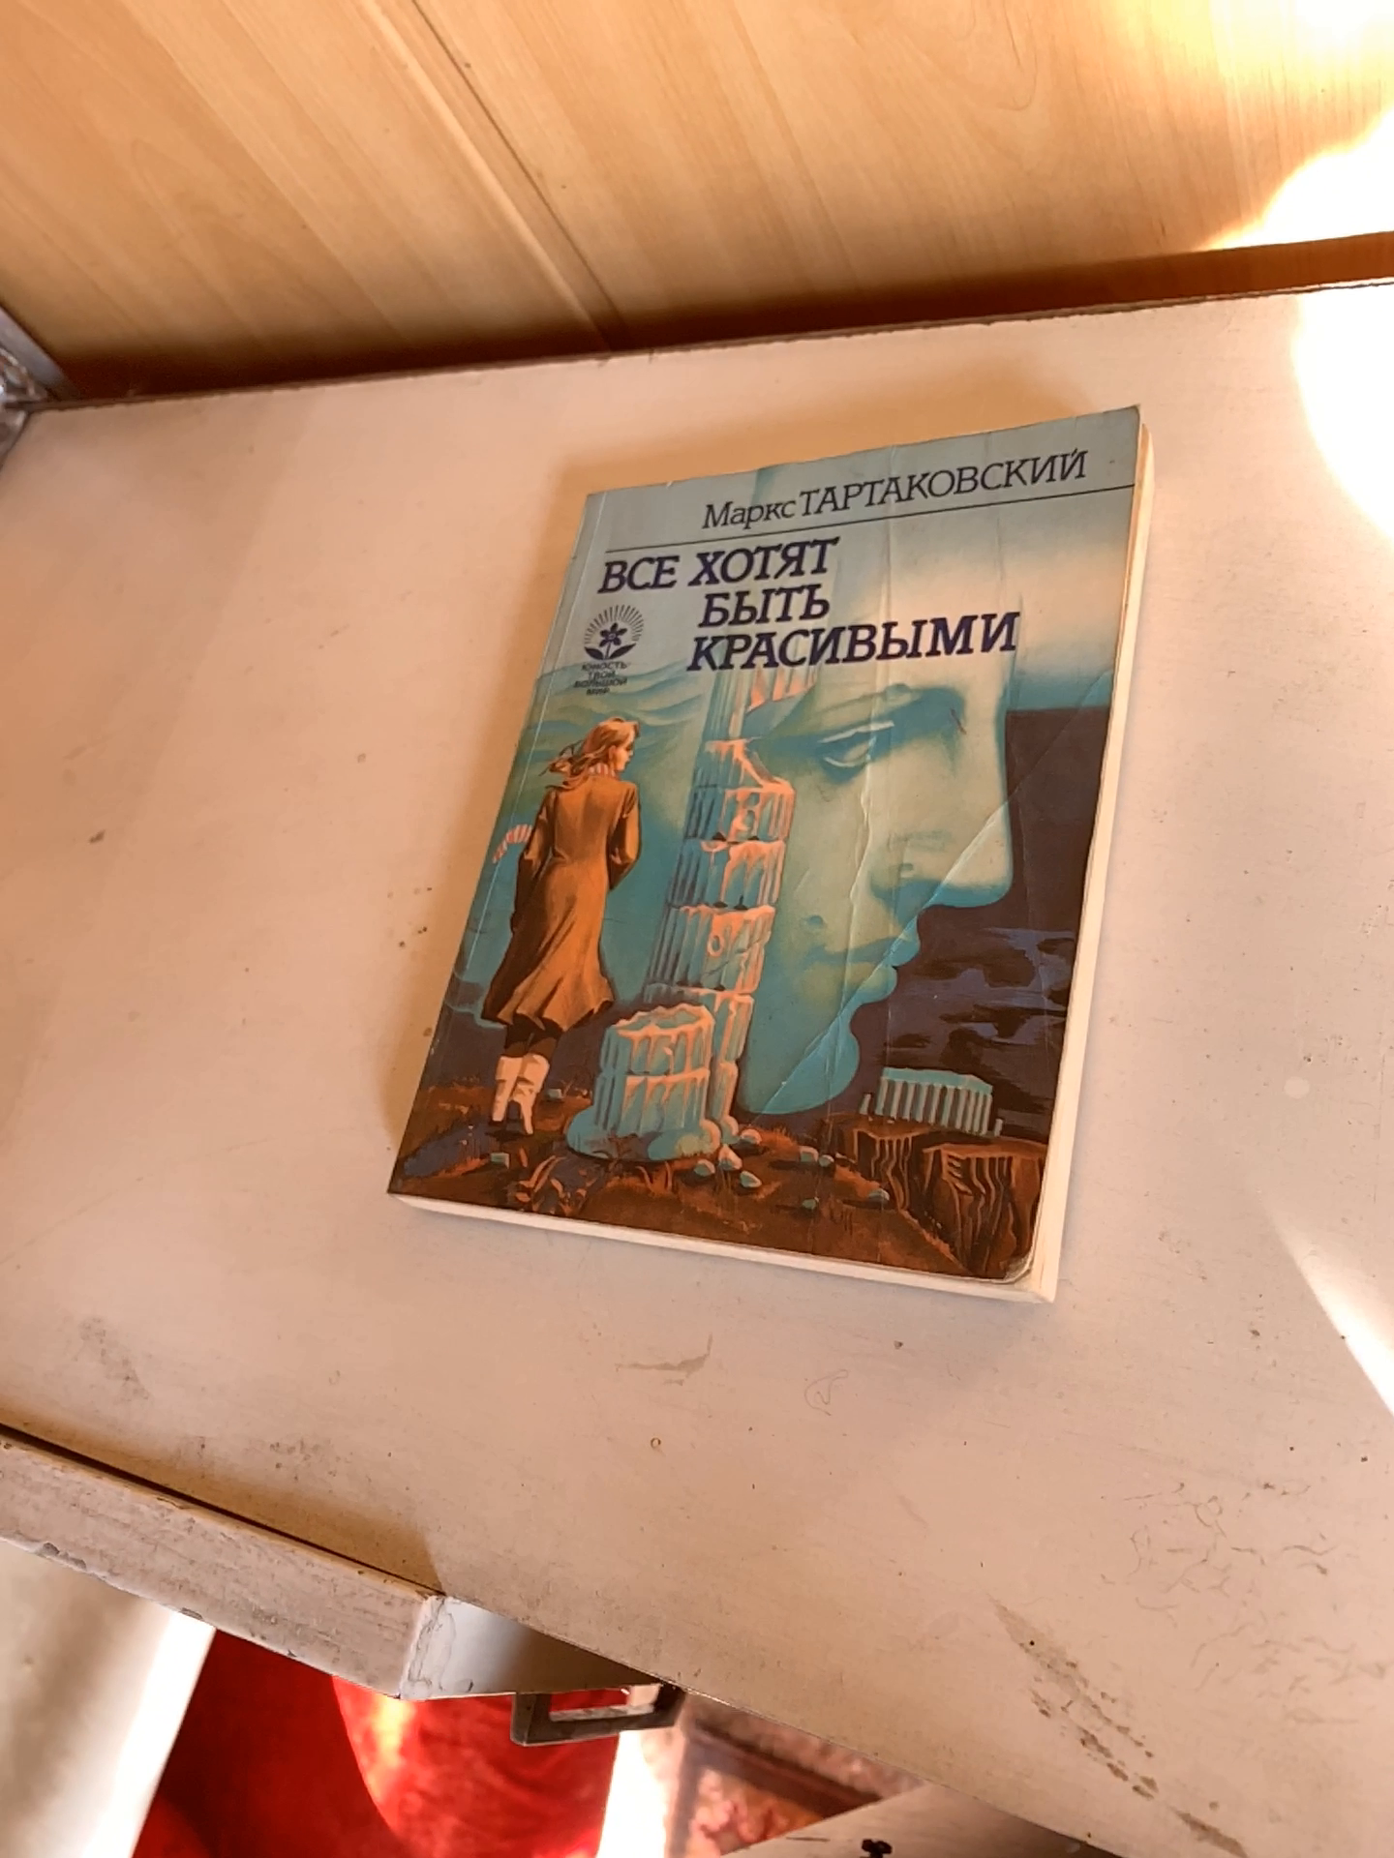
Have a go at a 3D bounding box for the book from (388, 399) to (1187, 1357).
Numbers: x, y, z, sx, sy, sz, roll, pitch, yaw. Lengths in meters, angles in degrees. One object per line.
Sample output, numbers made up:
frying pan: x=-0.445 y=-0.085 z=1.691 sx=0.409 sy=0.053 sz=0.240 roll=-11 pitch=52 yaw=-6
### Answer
book: x=0.017 y=-0.016 z=0.259 sx=0.120 sy=0.013 sz=0.160 roll=1 pitch=68 yaw=30
